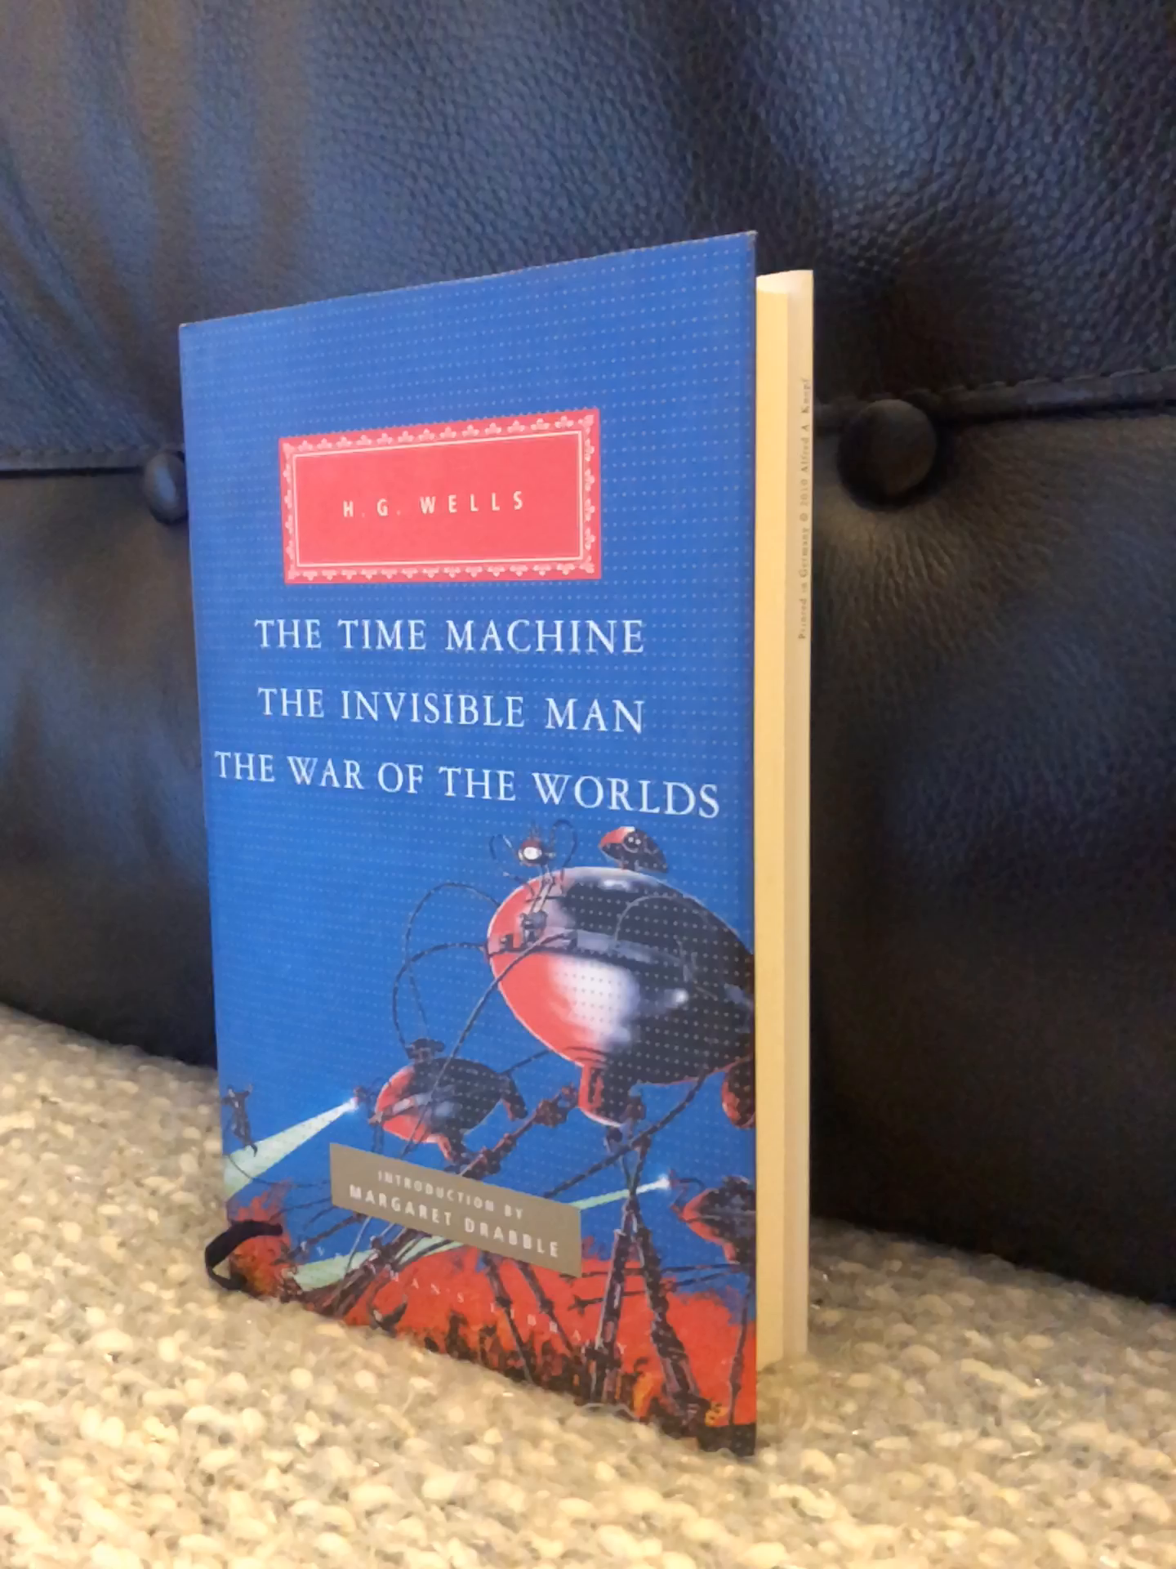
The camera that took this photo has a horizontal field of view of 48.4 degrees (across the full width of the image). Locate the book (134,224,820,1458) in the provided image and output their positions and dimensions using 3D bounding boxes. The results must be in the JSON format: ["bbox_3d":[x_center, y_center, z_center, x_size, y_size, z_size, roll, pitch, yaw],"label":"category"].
[{"bbox_3d":[-0.026,0.011,0.286,0.148,0.226,0.034,3,9,29],"label":"book"}]
